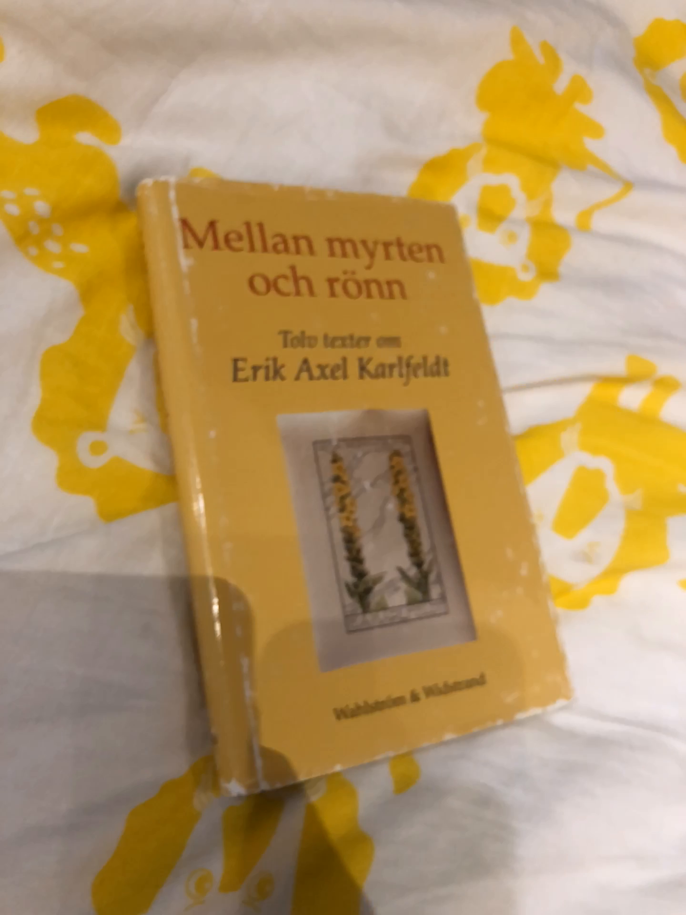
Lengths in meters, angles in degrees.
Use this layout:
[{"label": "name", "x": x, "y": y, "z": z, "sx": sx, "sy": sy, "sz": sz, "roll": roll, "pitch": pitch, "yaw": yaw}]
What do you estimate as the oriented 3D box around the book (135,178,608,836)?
[{"label": "book", "x": 0.008, "y": 0.006, "z": 0.290, "sx": 0.141, "sy": 0.030, "sz": 0.215, "roll": -2, "pitch": 73, "yaw": -27}]
